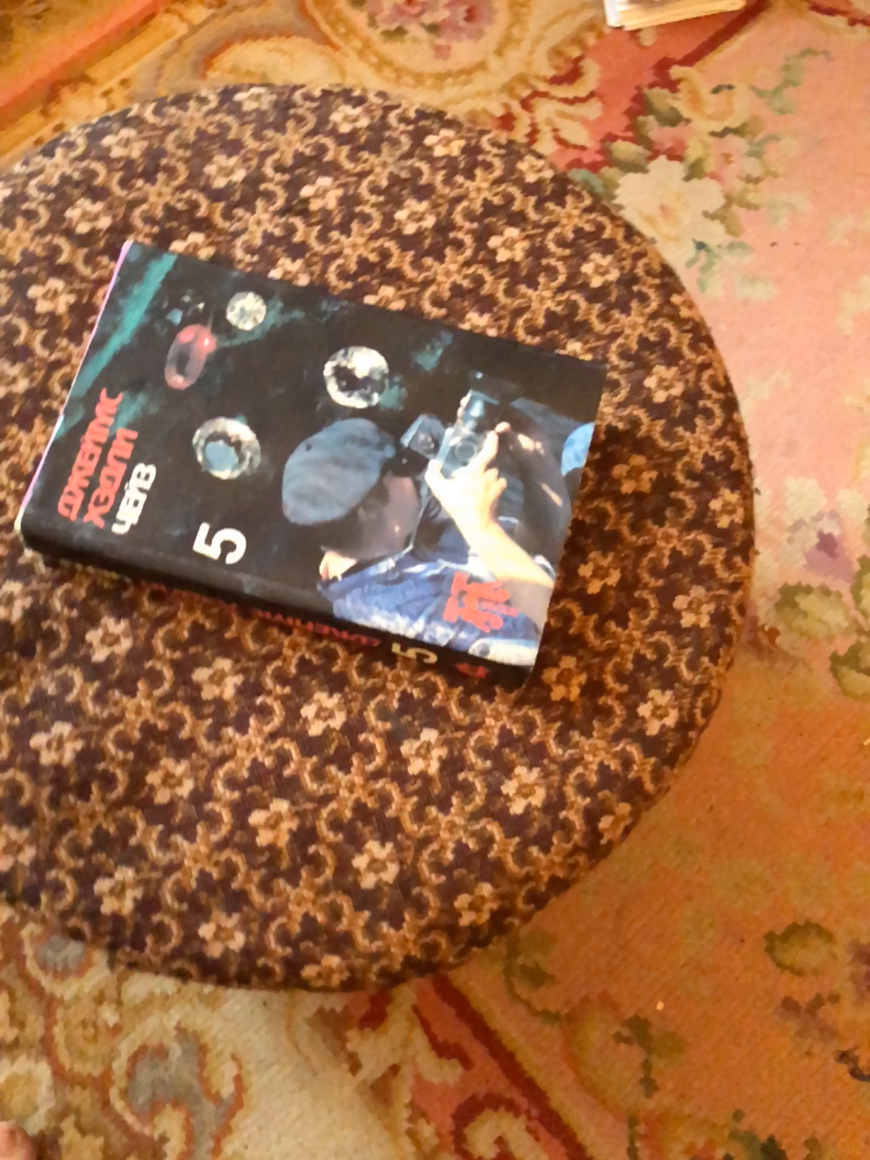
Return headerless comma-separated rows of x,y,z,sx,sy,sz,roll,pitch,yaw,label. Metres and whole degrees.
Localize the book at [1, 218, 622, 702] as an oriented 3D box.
-0.042,-0.049,0.379,0.205,0.020,0.140,17,75,-1,book
